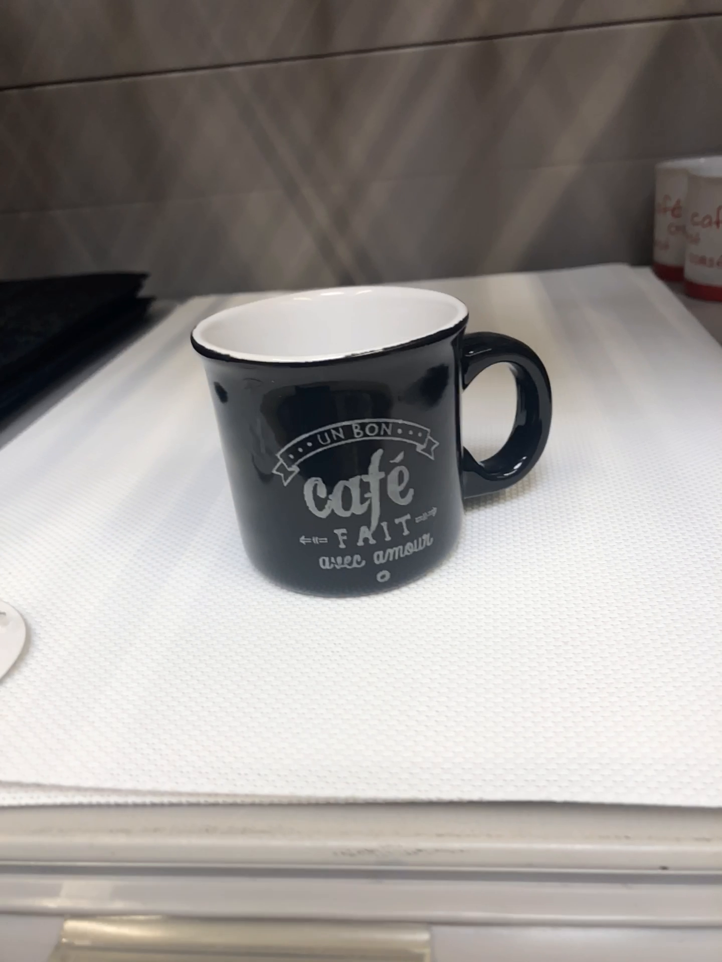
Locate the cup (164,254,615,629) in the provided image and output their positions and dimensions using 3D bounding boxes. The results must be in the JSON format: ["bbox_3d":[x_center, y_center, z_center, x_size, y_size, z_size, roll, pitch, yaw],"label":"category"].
[{"bbox_3d":[0.004,-0.018,0.225,0.100,0.064,0.075,-11,26,-12],"label":"cup"}]
